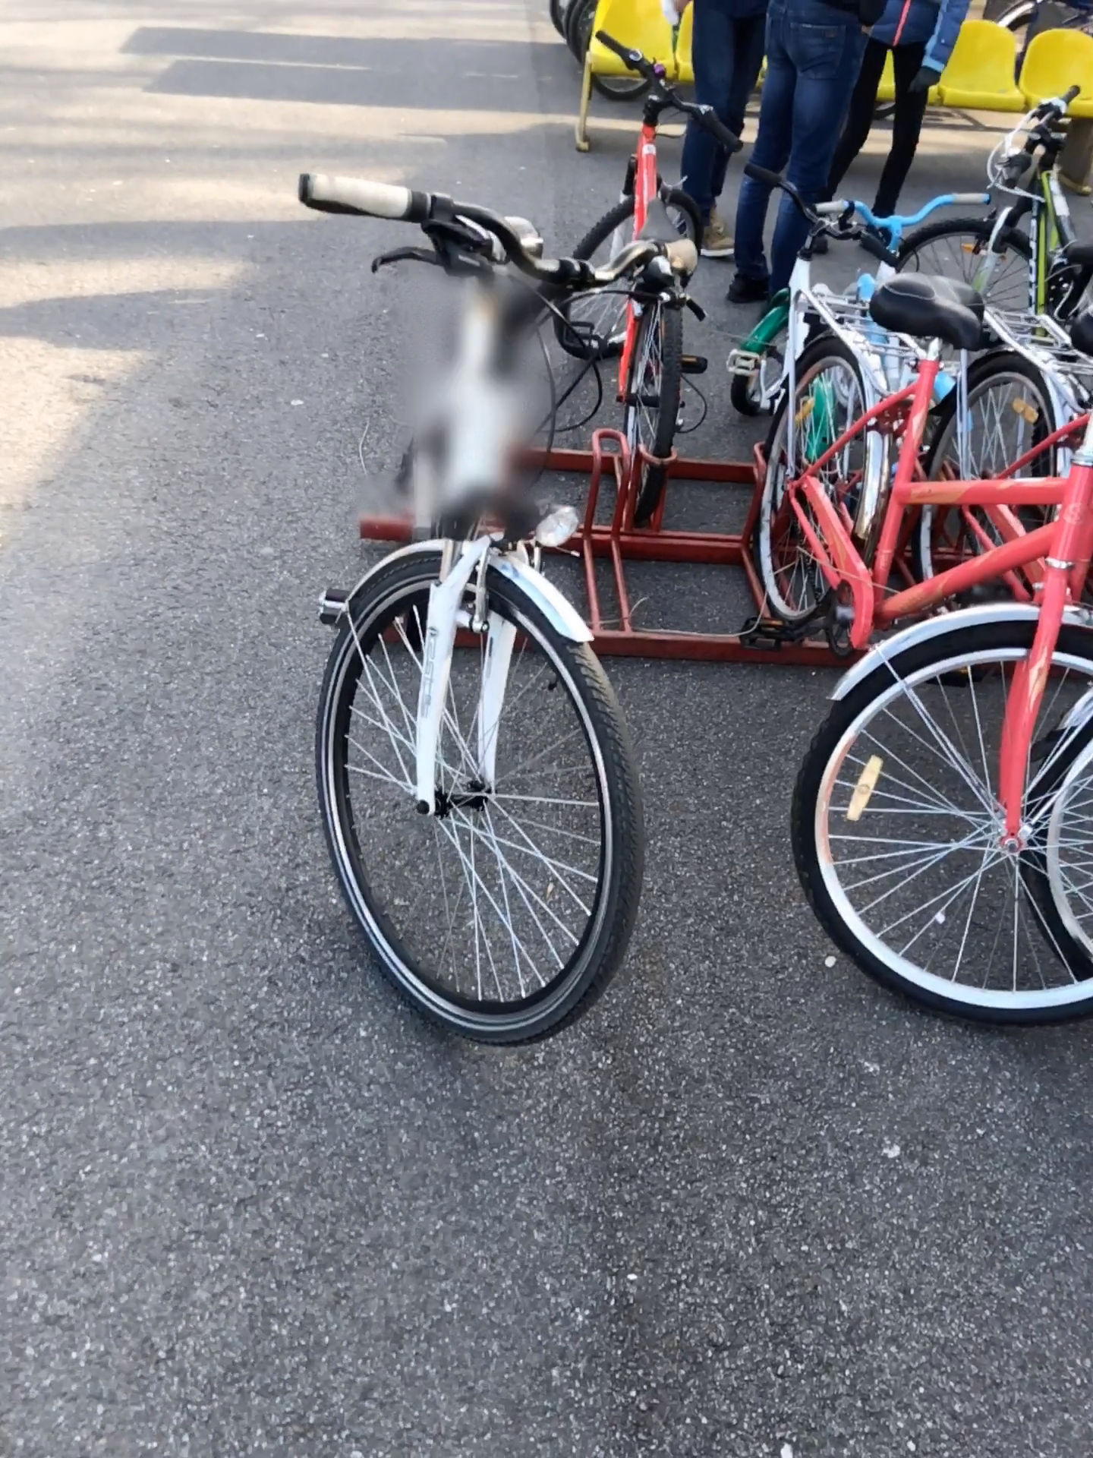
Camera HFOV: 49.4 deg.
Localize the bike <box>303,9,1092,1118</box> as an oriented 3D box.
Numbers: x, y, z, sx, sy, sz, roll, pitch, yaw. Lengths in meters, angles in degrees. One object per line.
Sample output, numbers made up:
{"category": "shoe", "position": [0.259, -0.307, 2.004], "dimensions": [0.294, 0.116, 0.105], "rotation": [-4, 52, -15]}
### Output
{"category": "bike", "position": [-0.009, -0.427, 1.986], "dimensions": [0.644, 1.111, 1.708], "rotation": [-4, 38, -10]}
